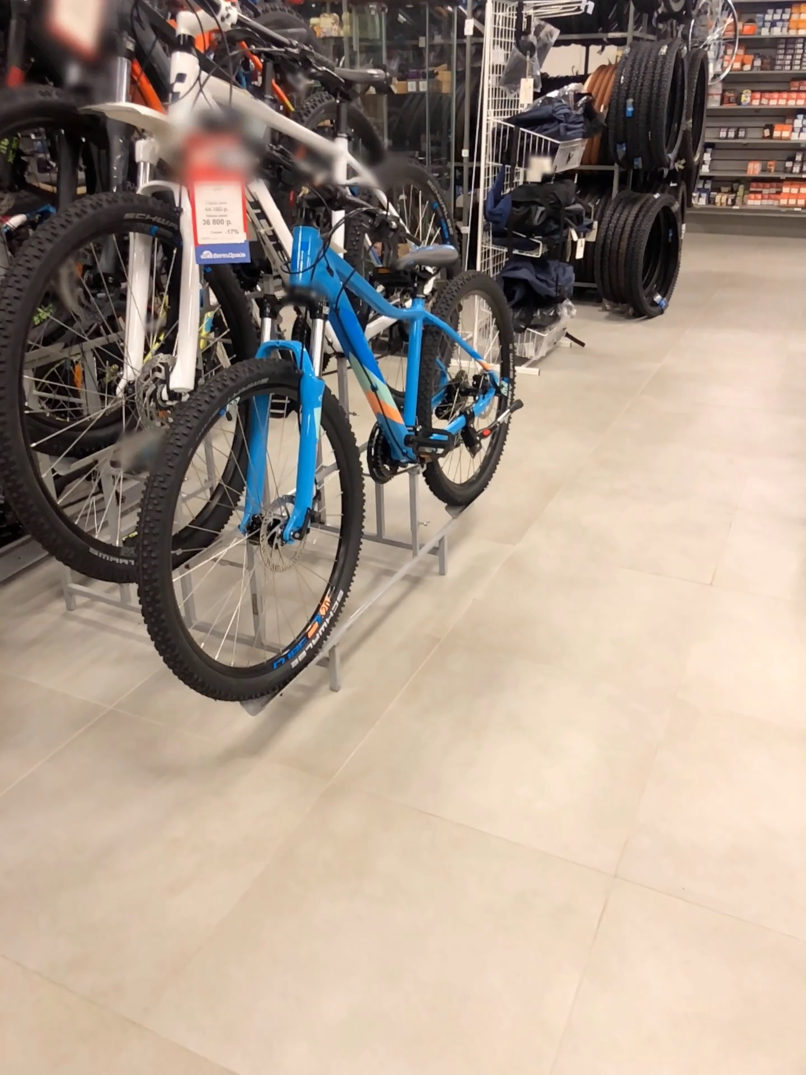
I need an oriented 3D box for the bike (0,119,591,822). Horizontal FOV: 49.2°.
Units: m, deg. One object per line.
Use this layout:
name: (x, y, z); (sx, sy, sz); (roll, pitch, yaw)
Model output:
bike: (-0.143, -0.381, 2.119); (0.630, 1.082, 1.710); (11, 29, 22)
